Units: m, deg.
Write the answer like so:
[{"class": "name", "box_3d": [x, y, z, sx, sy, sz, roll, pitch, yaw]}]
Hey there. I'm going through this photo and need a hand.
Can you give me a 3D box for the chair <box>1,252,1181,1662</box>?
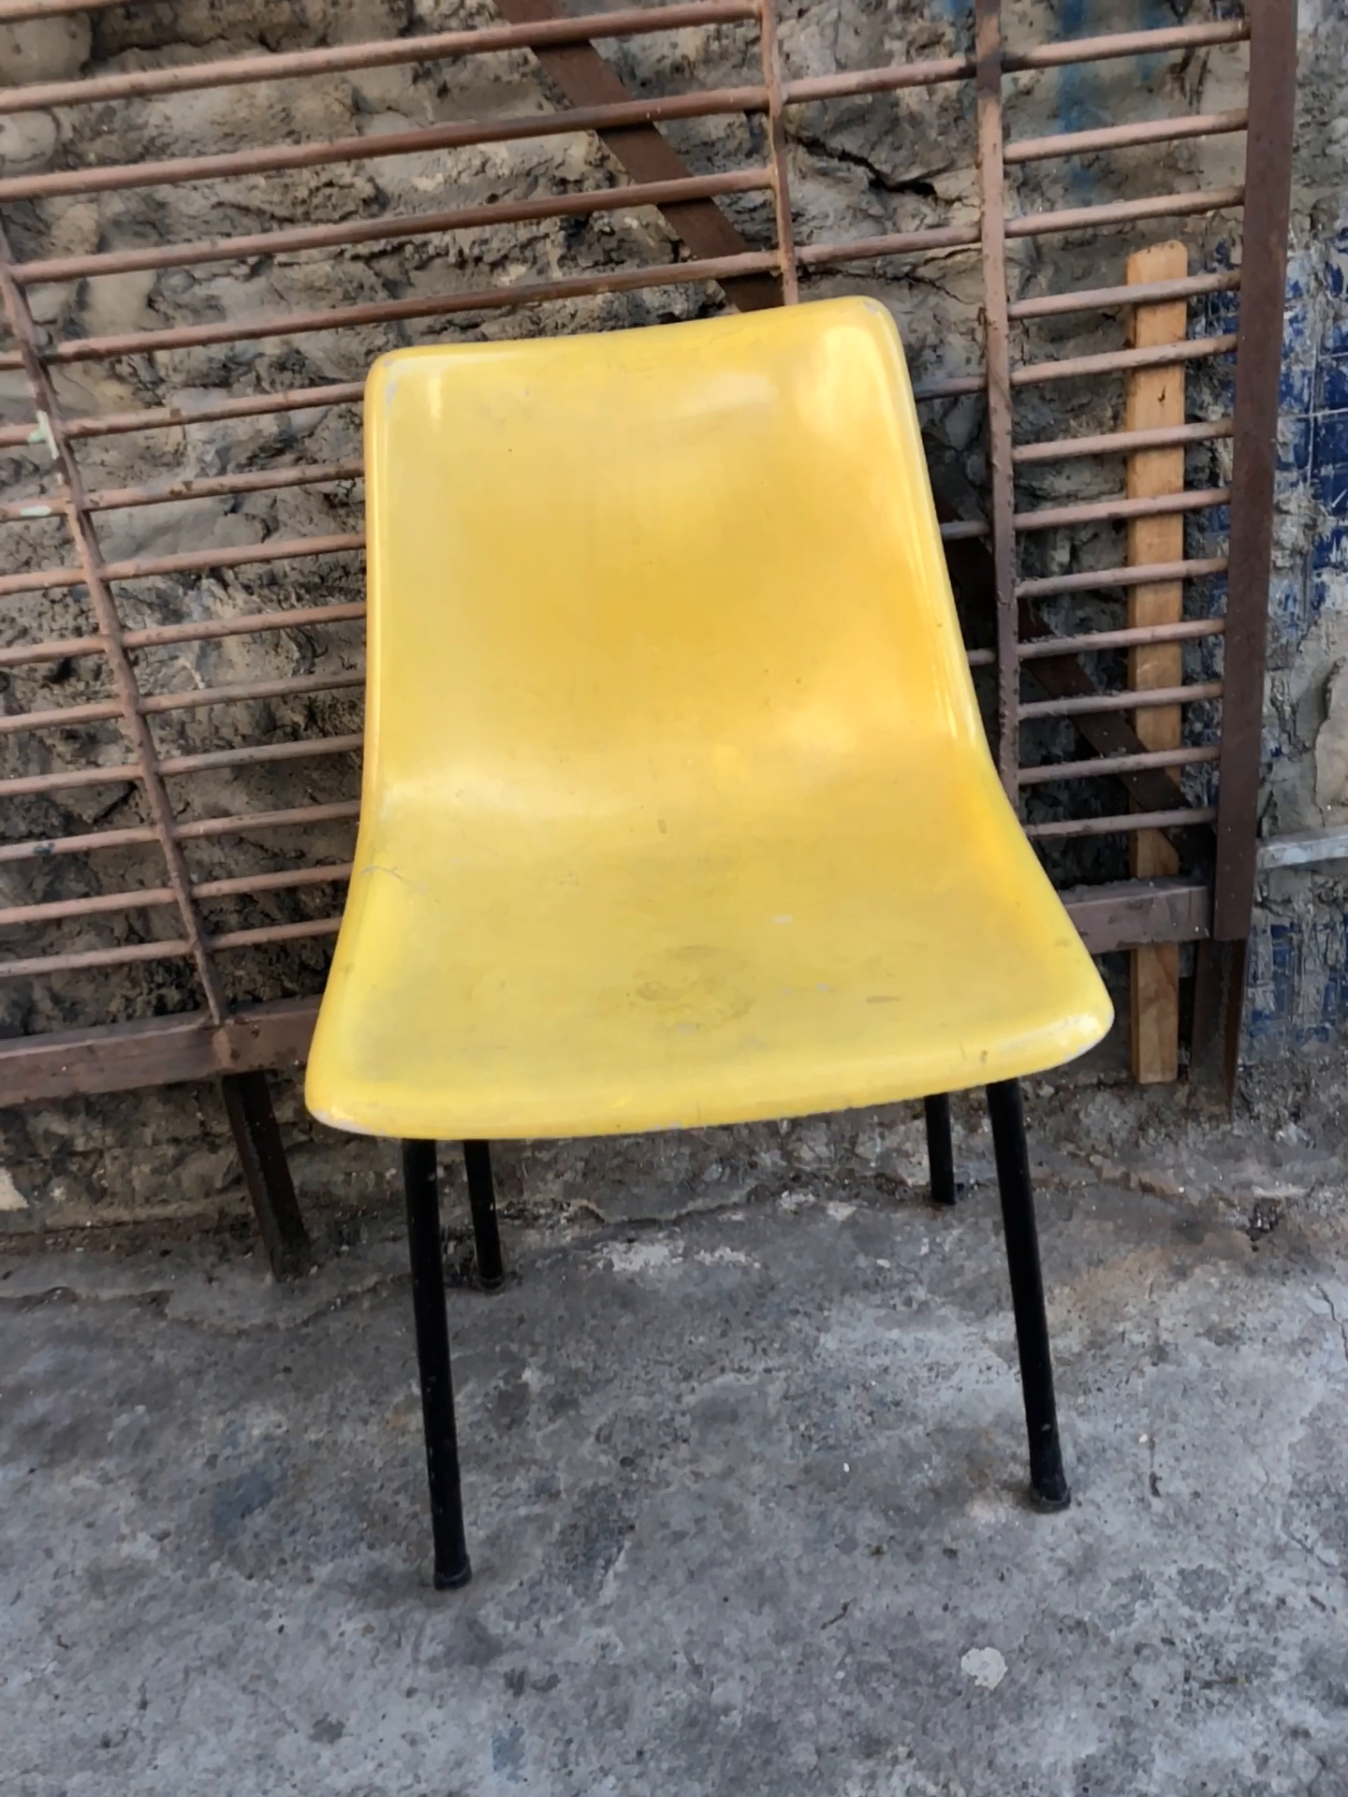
[{"class": "chair", "box_3d": [0.004, 0.007, 0.952, 0.480, 0.715, 0.473, -8, 24, 2]}]
